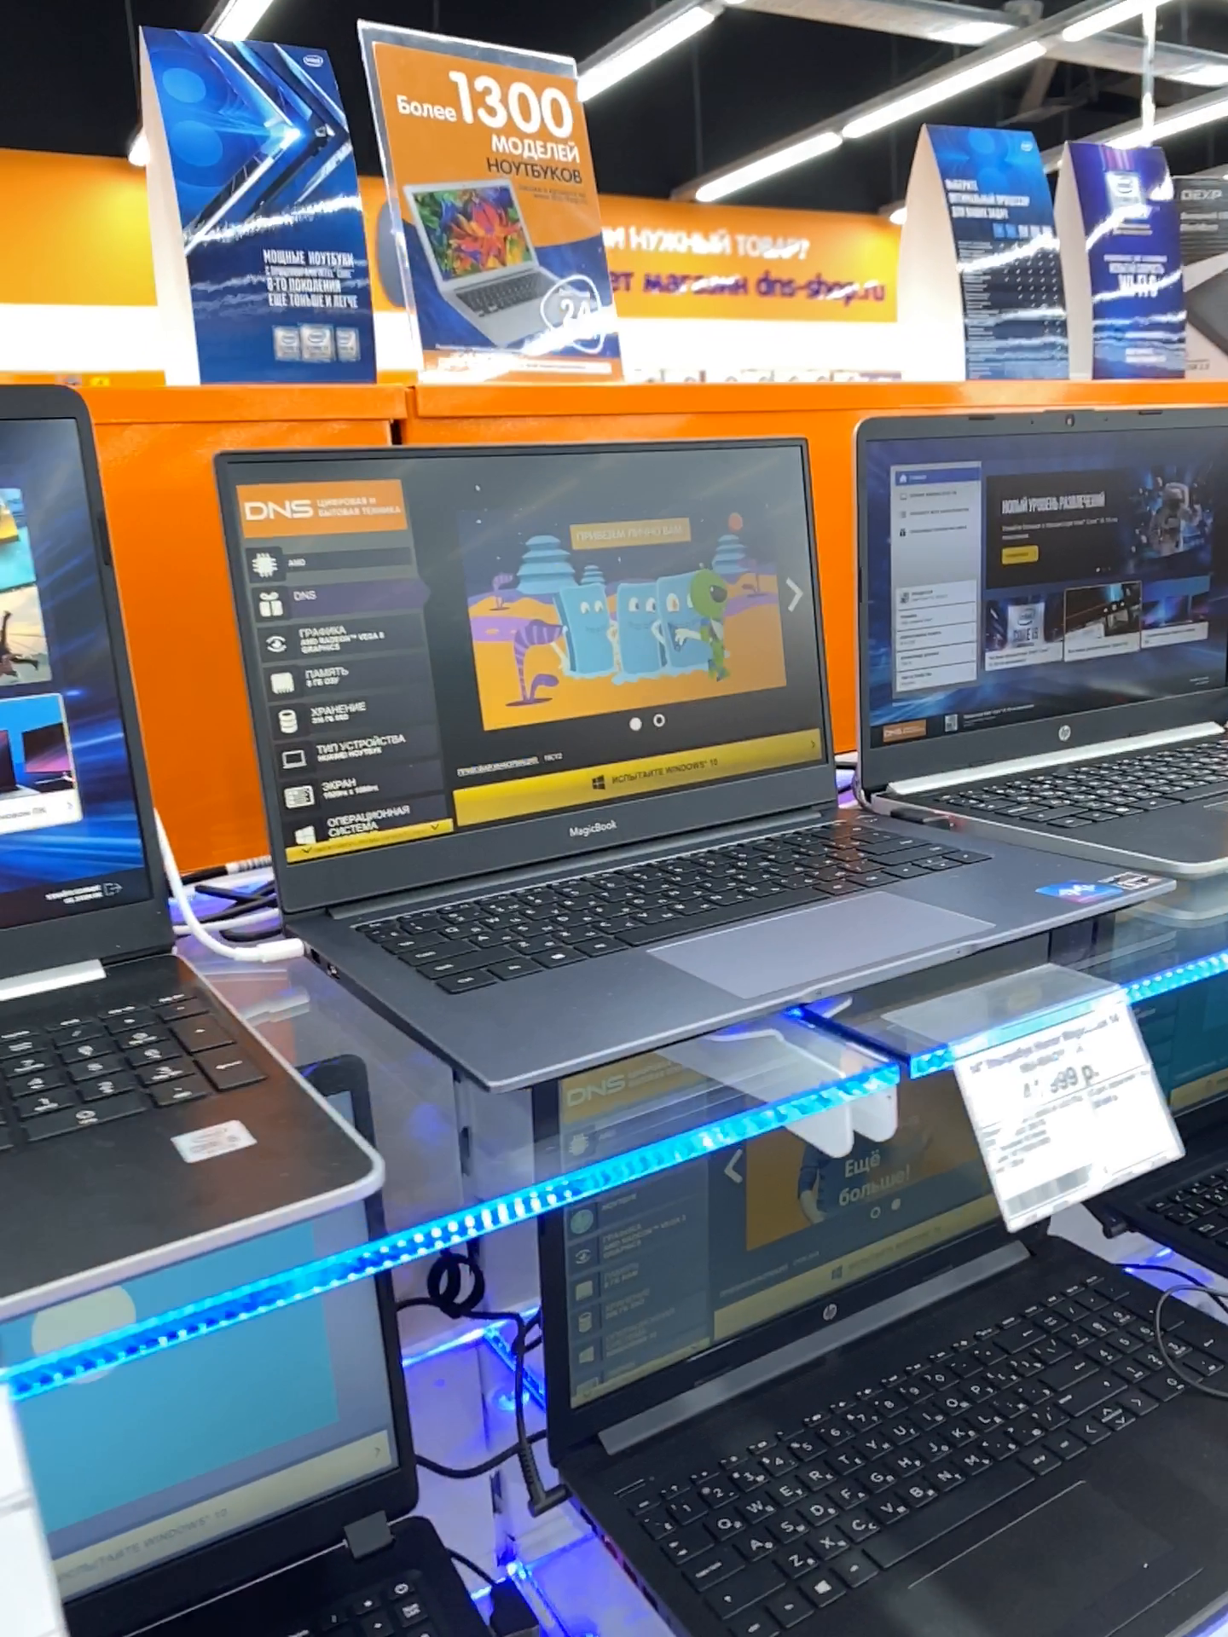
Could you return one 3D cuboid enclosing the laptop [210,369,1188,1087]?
[{"bbox_3d":[0.033,-0.064,0.535,0.323,0.203,0.238,-10,14,-30],"label":"laptop"}]
